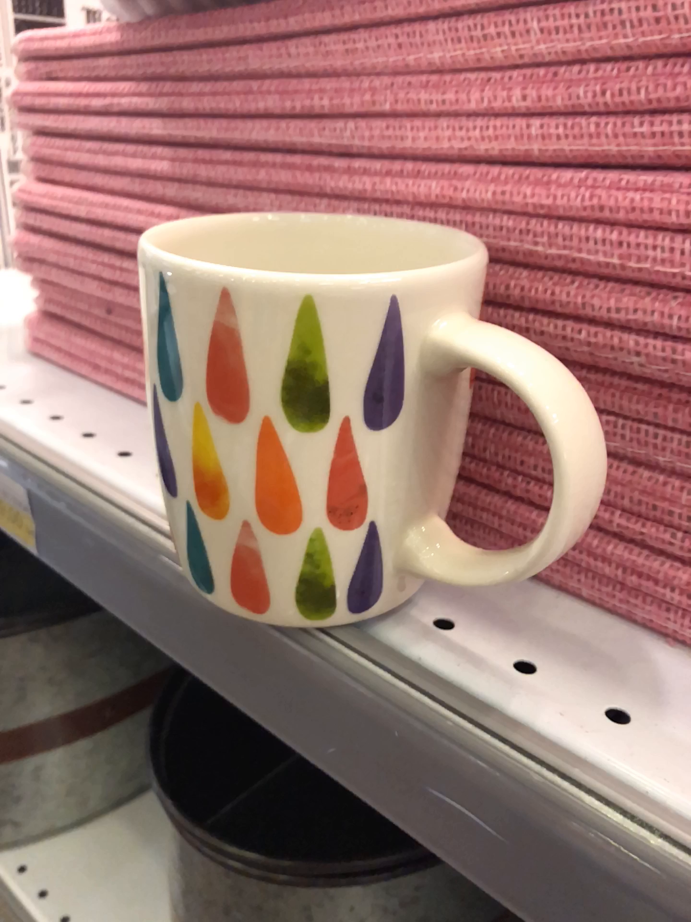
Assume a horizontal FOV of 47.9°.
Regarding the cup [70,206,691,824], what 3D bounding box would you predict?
[{"bbox_3d":[0.011,-0.007,0.196,0.130,0.089,0.090,22,31,35],"label":"cup"}]
